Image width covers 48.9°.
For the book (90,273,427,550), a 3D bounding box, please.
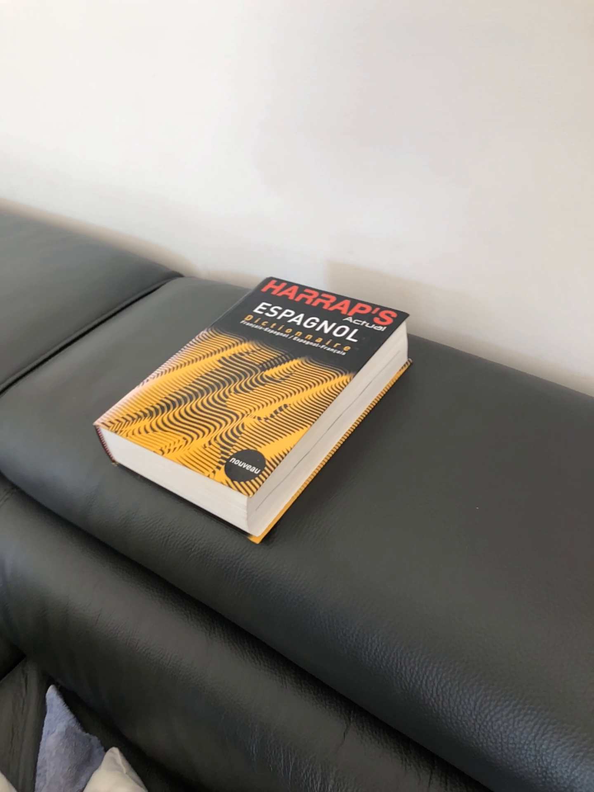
[{"bbox_3d":[-0.026,-0.007,0.603,0.185,0.050,0.261,20,50,31],"label":"book"}]
